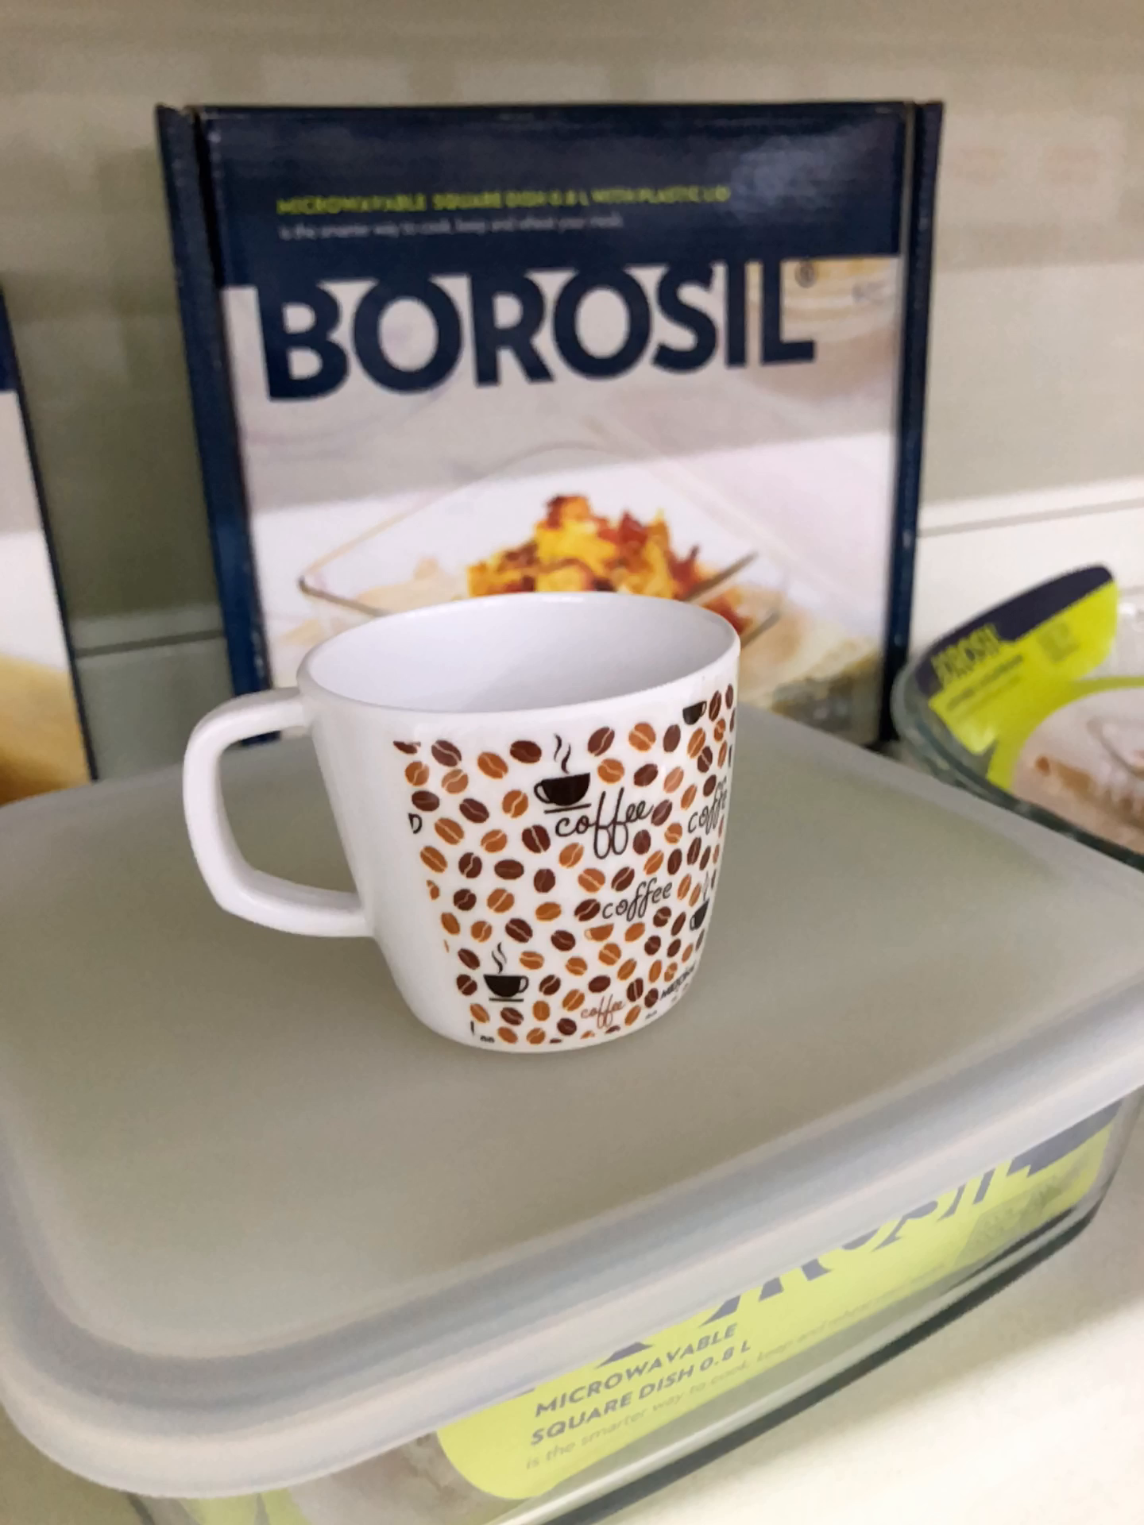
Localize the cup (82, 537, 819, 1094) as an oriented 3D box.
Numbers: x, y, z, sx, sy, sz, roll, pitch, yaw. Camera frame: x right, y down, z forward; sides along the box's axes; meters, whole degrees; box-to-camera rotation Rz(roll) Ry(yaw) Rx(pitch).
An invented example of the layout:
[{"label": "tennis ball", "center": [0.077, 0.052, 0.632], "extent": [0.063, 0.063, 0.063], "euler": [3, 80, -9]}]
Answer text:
[{"label": "cup", "center": [-0.014, 0.002, 0.176], "extent": [0.080, 0.050, 0.060], "euler": [-5, 19, -6]}]
